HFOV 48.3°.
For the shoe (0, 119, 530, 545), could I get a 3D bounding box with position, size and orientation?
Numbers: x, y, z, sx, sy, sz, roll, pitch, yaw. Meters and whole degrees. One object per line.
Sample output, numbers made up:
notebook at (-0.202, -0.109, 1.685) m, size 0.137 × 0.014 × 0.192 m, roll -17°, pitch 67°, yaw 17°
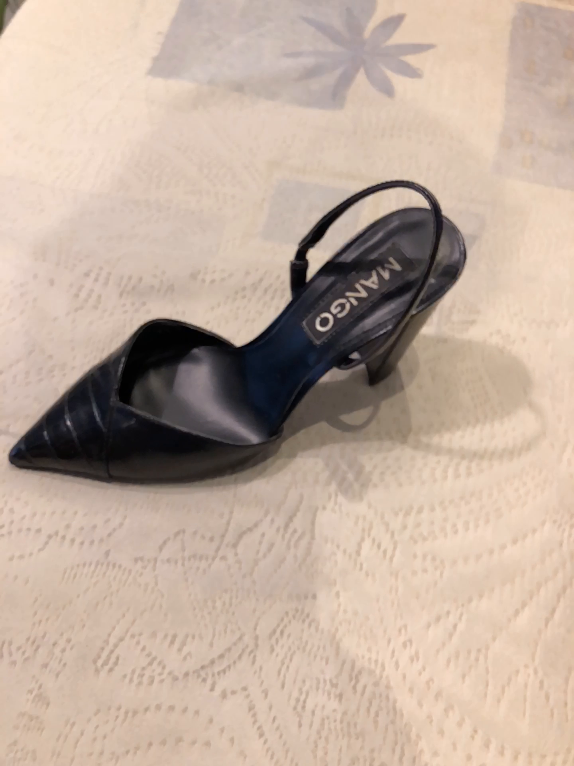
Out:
shoe at (-0.031, -0.023, 0.323) m, size 0.240 × 0.129 × 0.100 m, roll -17°, pitch 65°, yaw -13°
